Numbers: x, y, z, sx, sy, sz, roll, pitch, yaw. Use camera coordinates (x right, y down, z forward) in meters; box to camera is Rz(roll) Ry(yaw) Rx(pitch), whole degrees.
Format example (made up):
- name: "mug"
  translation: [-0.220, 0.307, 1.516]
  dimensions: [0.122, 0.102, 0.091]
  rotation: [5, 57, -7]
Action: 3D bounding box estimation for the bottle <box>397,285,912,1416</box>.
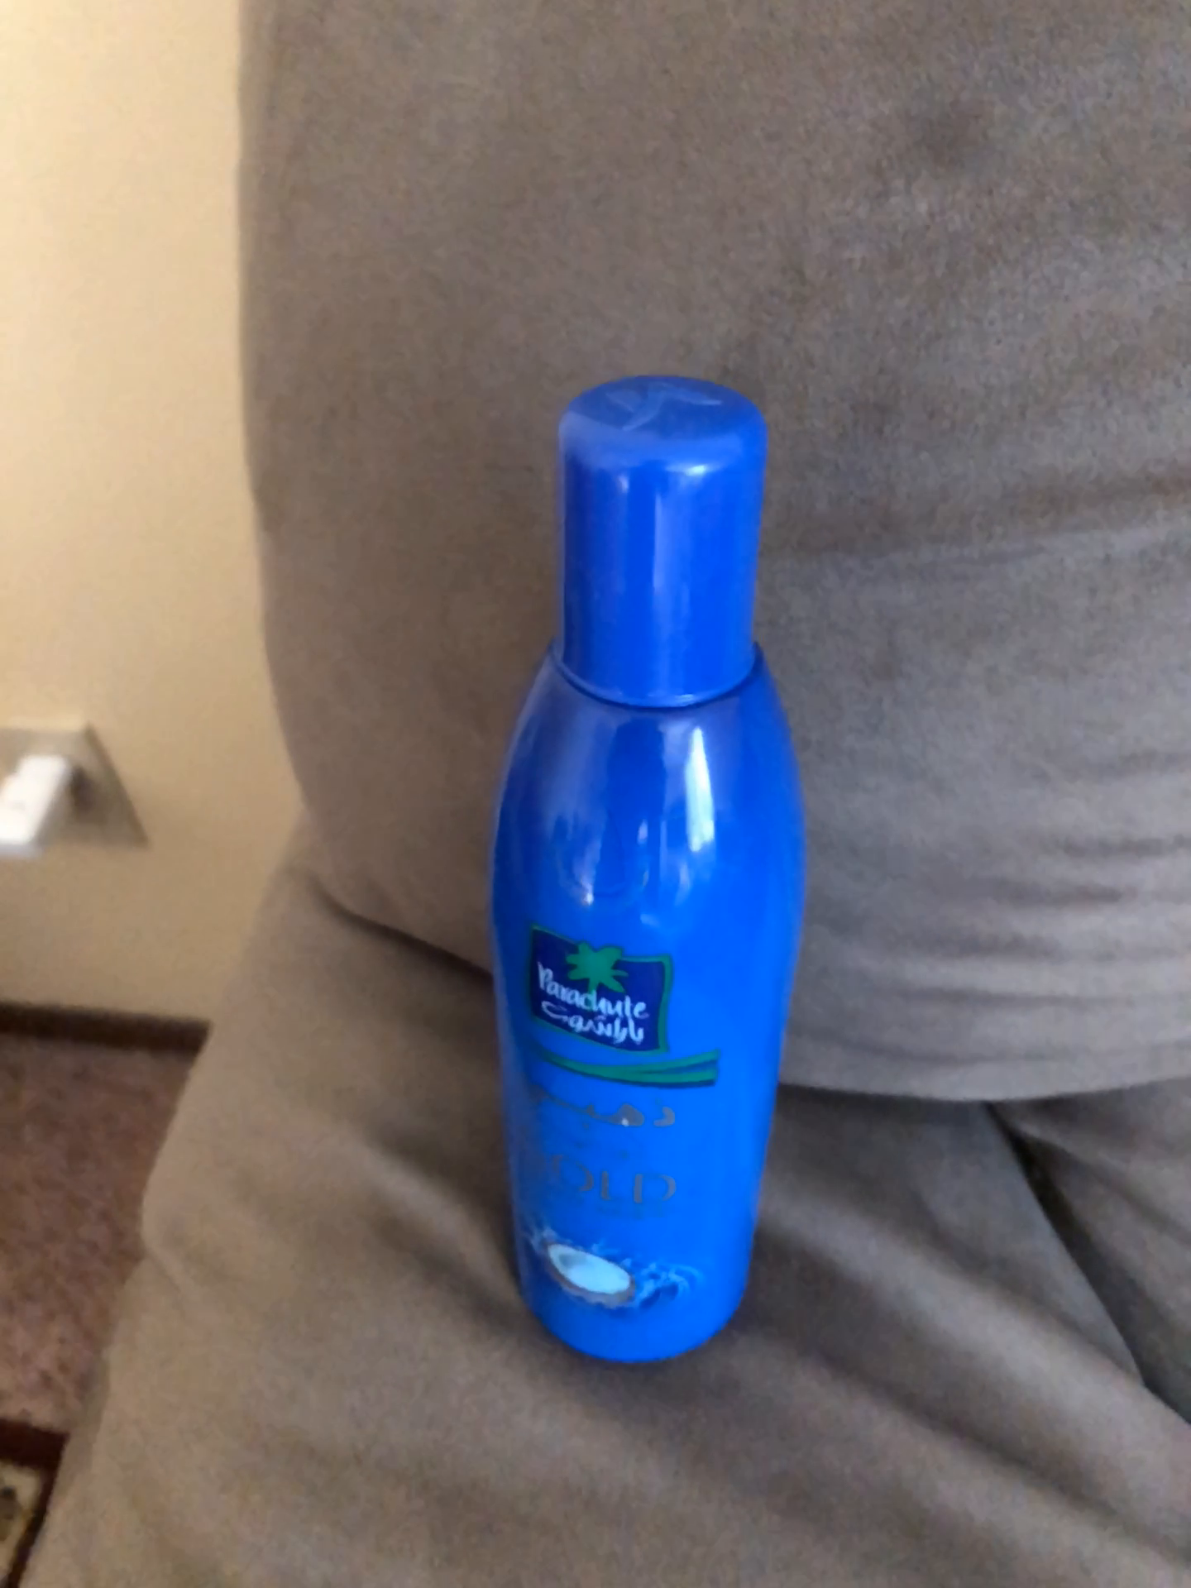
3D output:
- name: "bottle"
  translation: [0.008, 0.021, 0.214]
  dimensions: [0.050, 0.180, 0.050]
  rotation: [1, 36, -1]
